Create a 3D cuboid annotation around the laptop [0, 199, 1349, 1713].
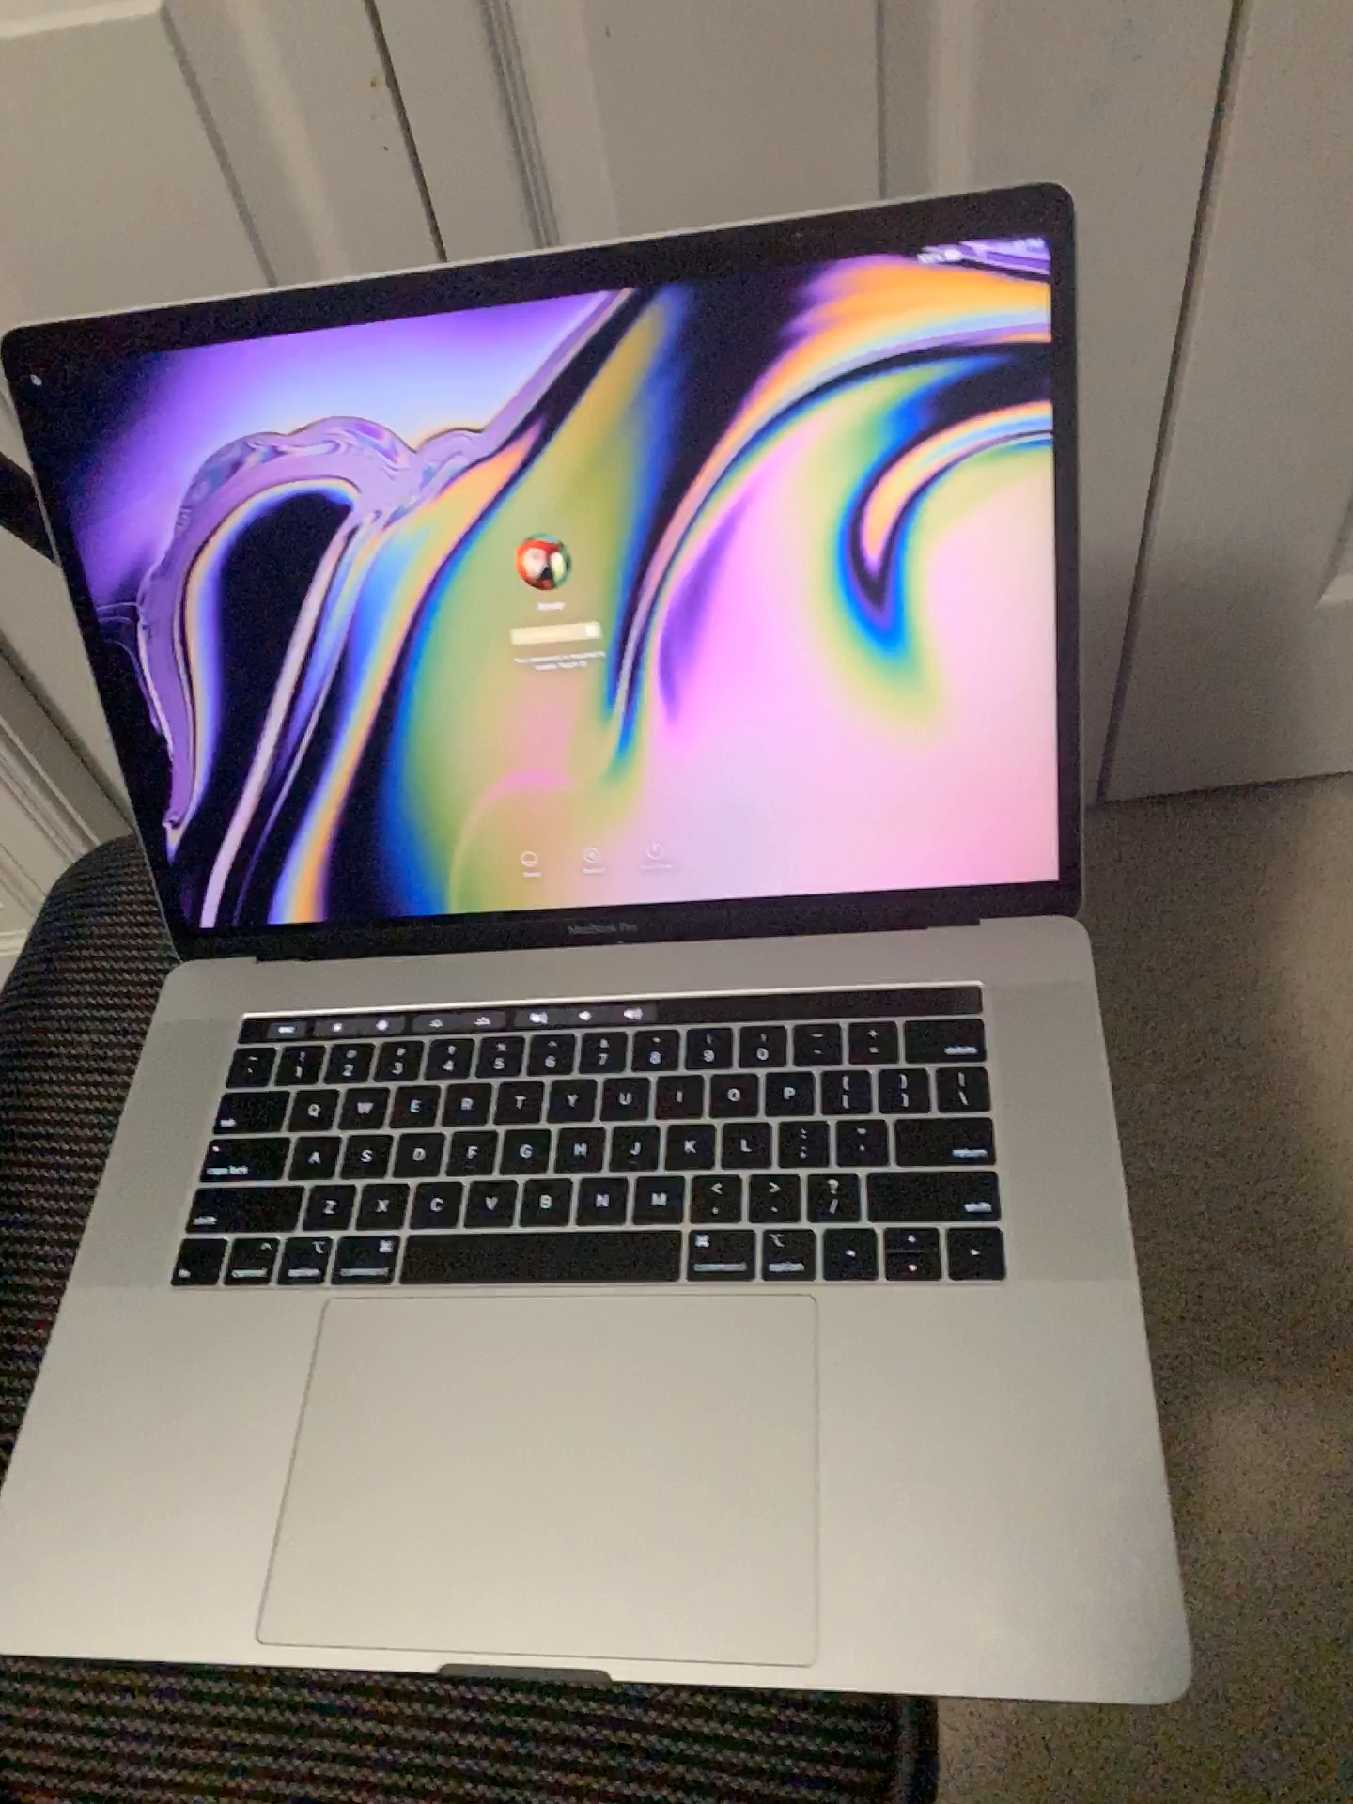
[{"bbox_3d":[-0.056,0.009,0.395,0.342,0.195,0.353,-3,54,10],"label":"laptop"}]
